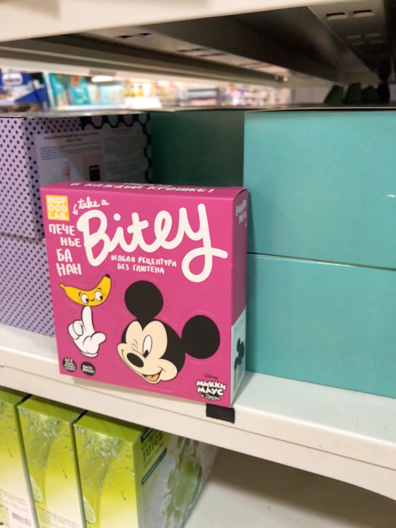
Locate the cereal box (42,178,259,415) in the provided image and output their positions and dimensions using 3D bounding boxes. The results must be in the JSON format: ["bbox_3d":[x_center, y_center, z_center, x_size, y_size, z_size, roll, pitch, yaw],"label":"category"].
[{"bbox_3d":[-0.032,0.019,0.316,0.140,0.149,0.040,6,18,17],"label":"cereal box"}]
